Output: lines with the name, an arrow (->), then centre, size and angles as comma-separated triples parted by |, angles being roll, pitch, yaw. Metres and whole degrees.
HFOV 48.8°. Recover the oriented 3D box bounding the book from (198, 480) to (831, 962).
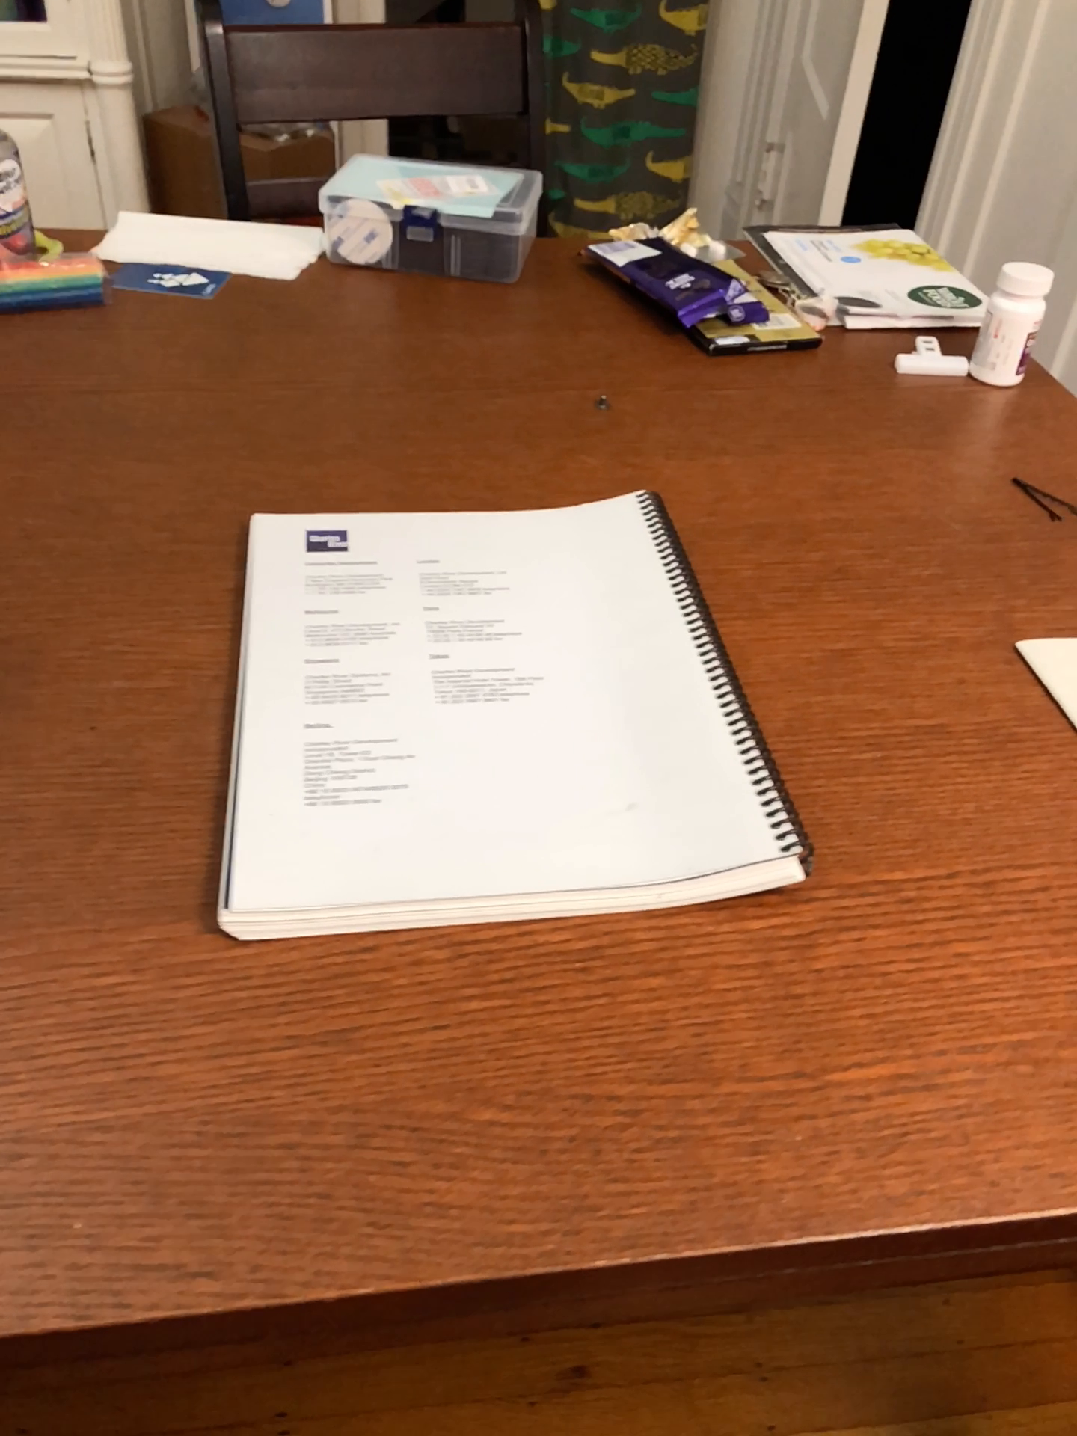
book -> -0.027, -0.024, 0.547 | 0.230, 0.020, 0.302 | -3, 41, -9
